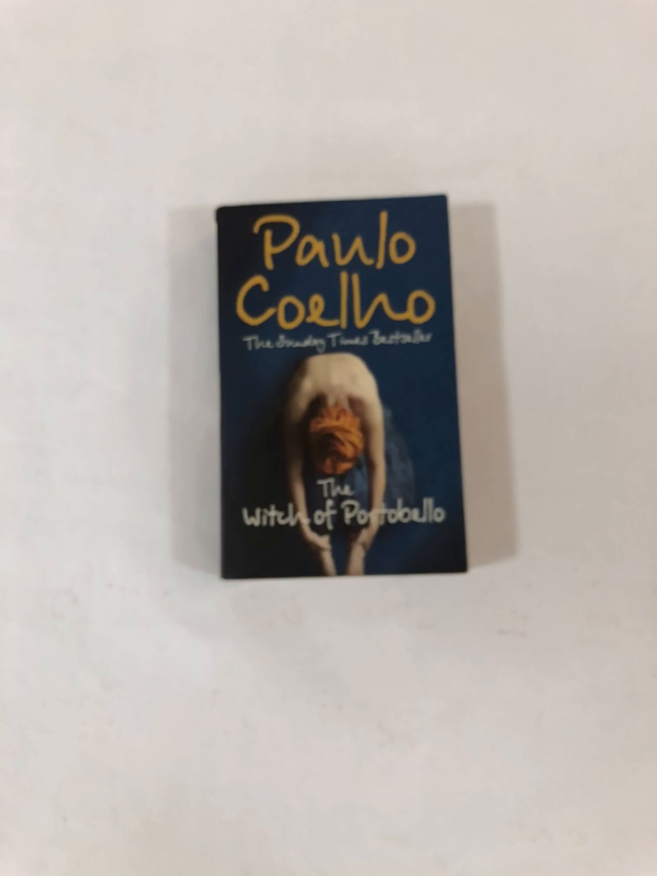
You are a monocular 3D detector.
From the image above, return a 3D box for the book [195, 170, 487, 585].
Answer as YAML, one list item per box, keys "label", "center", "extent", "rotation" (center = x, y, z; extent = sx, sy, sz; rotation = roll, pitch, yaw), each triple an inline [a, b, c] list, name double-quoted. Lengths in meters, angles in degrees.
- label: "book"
  center: [0.003, -0.028, 0.341]
  extent: [0.120, 0.030, 0.180]
  rotation: [-3, 82, 1]
